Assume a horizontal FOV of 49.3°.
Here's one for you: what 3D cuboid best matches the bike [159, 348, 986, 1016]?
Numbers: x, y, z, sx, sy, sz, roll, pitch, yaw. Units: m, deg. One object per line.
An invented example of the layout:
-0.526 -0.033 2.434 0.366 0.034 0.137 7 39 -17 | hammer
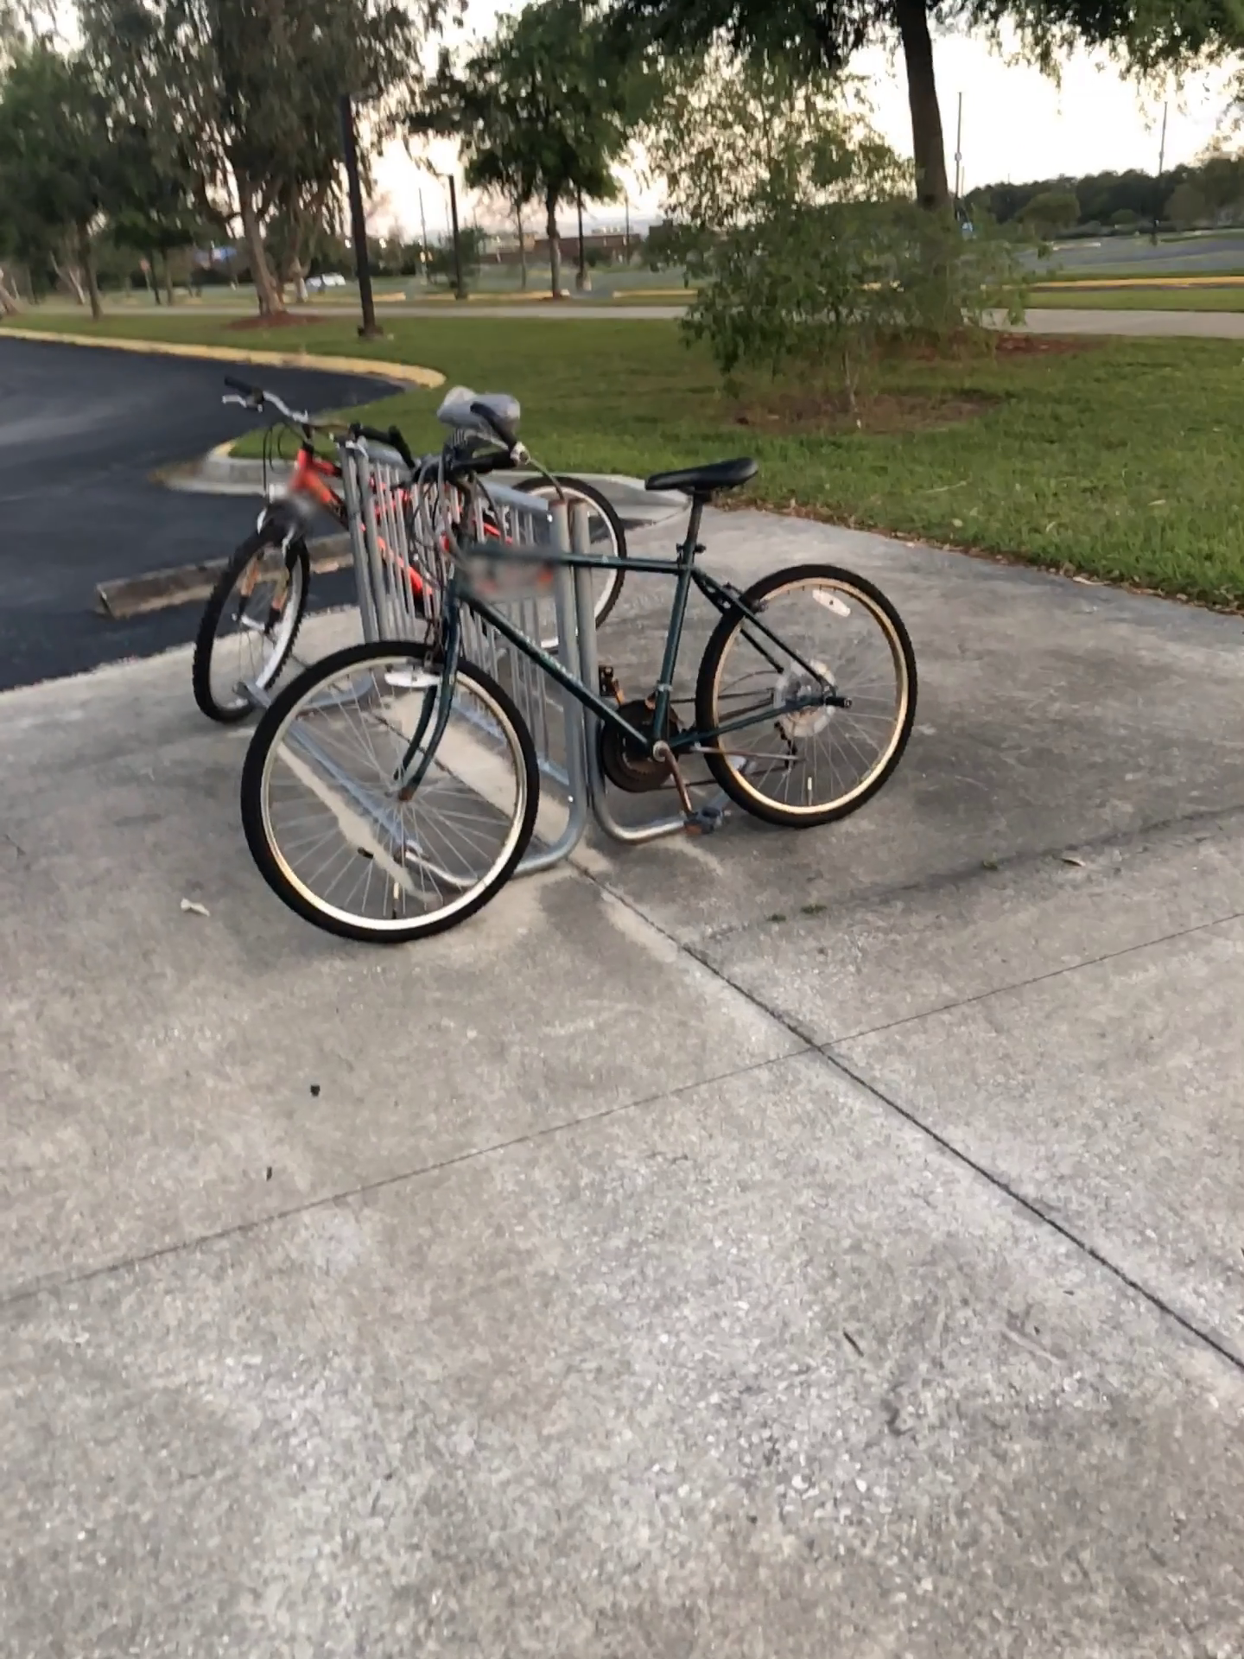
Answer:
-0.036 -0.443 3.132 1.753 1.104 0.586 -15 25 -25 | bike
